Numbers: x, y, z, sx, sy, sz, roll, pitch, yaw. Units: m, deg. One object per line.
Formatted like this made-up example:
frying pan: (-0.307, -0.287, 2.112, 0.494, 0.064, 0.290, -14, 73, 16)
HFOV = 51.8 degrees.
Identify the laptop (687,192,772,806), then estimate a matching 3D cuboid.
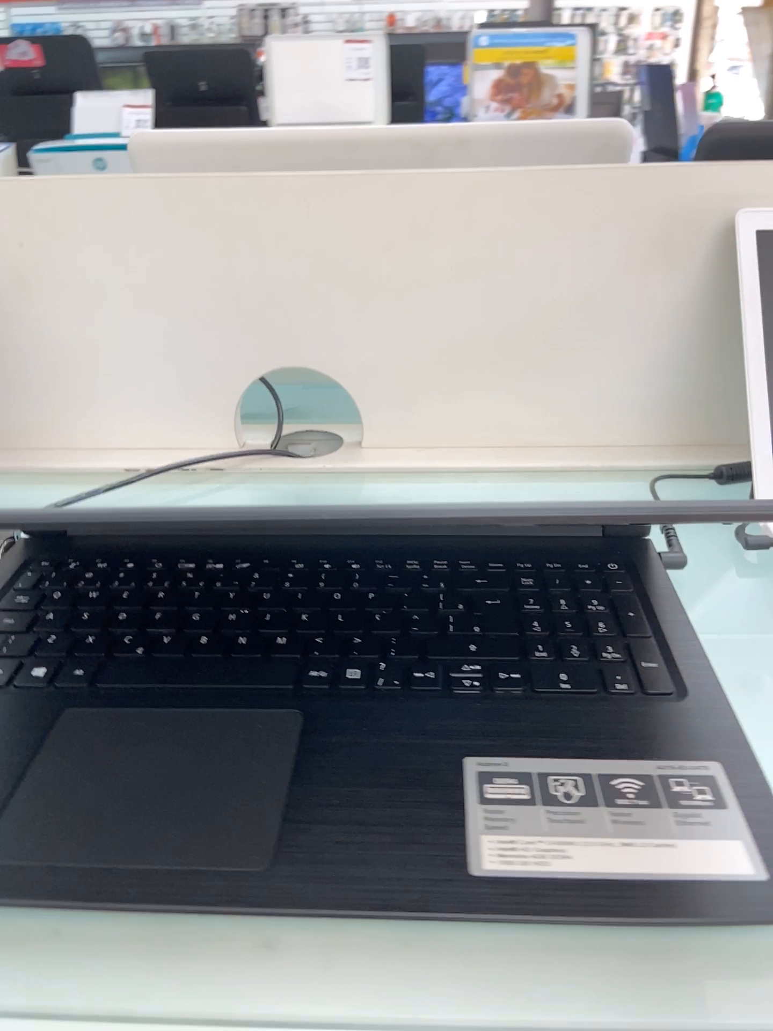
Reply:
laptop: (0.413, -0.054, 0.407, 0.381, 0.165, 0.353, 0, 28, 0)

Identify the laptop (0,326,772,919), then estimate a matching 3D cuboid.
laptop: (-0.043, 0.017, 0.342, 0.378, 0.123, 0.241, 0, 28, 4)
